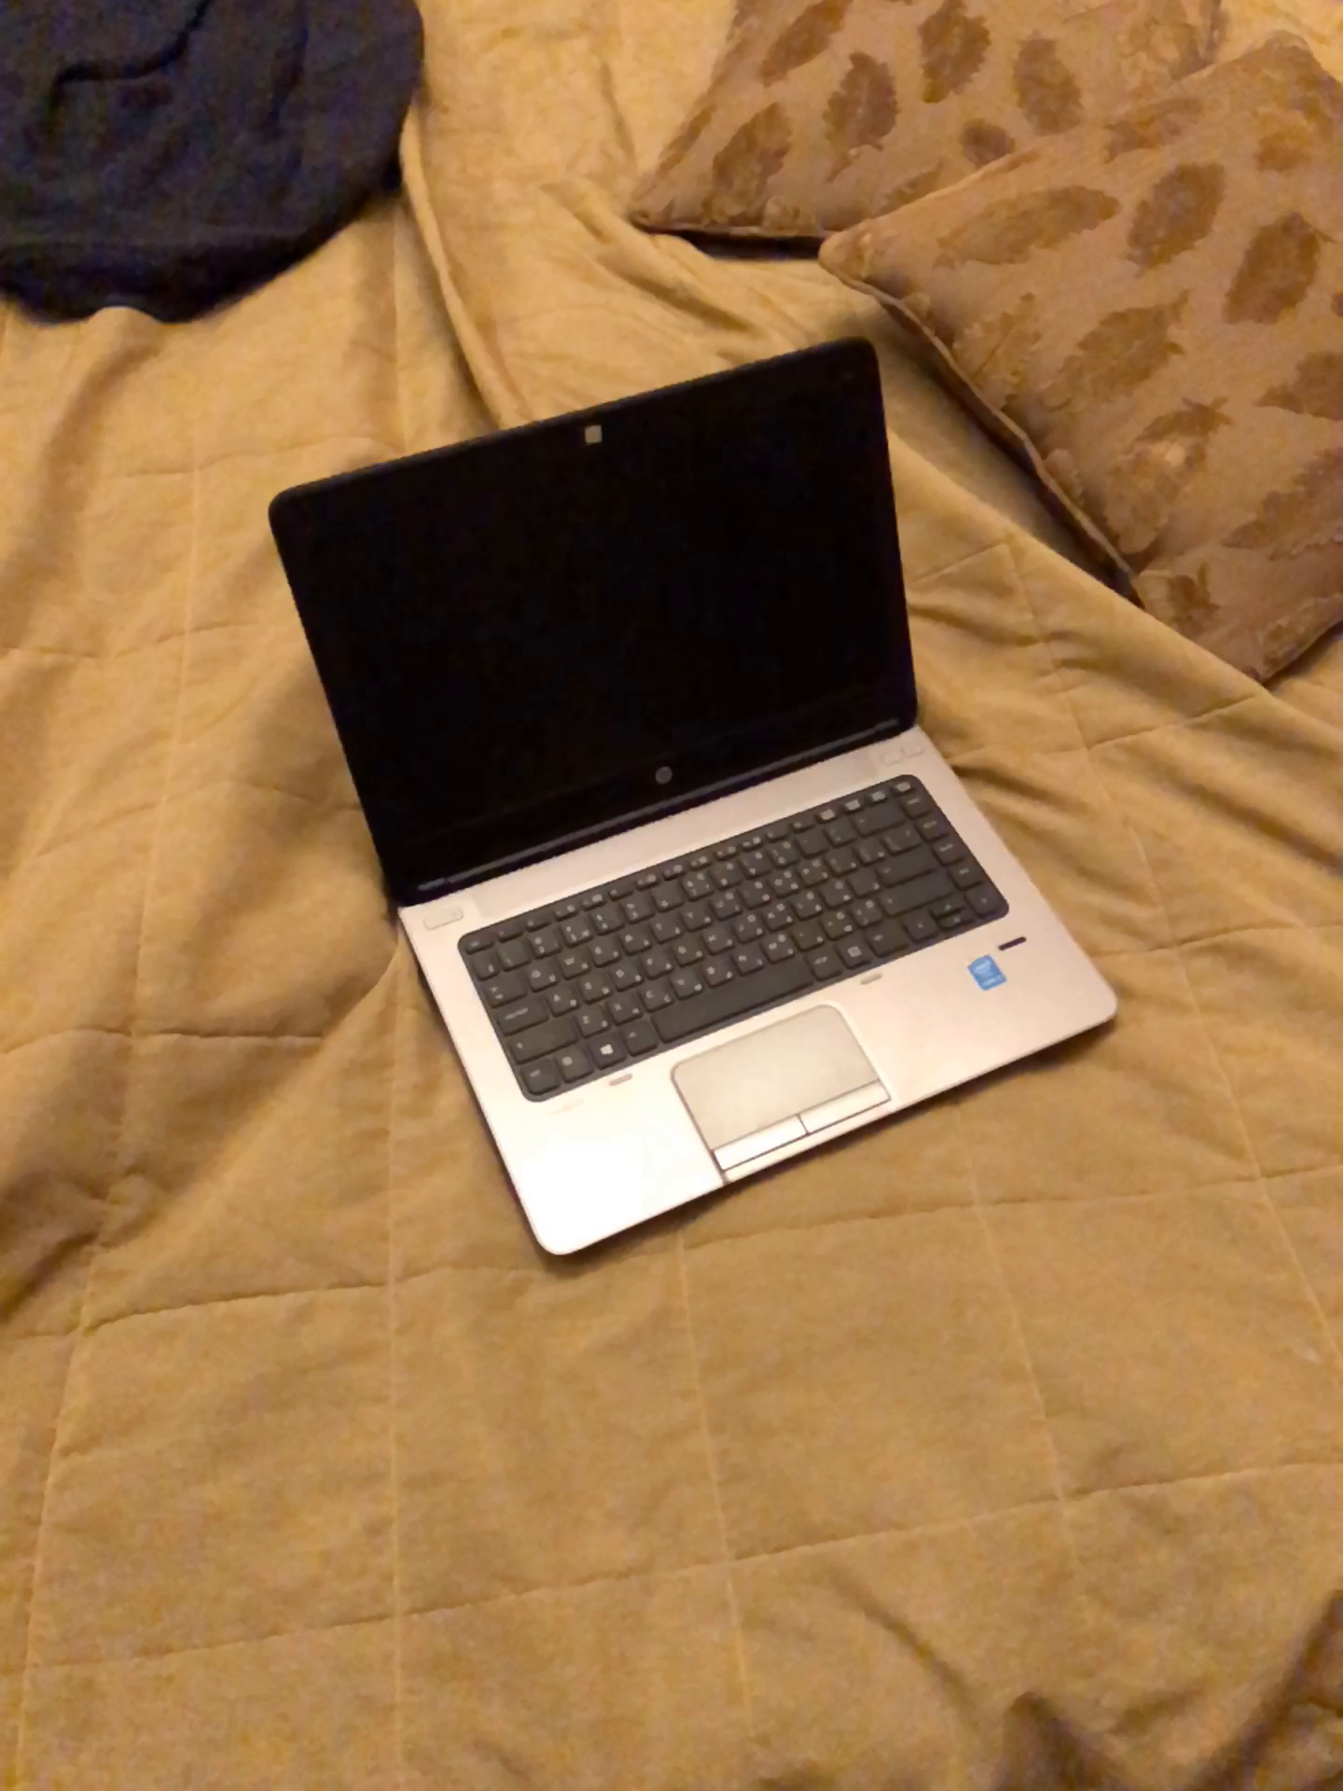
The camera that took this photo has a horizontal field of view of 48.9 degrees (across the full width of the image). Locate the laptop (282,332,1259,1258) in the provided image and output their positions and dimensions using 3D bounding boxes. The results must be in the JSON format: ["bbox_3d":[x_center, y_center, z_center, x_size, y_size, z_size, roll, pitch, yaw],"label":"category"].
[{"bbox_3d":[0.027,-0.066,0.755,0.332,0.189,0.339,-21,60,-14],"label":"laptop"}]
